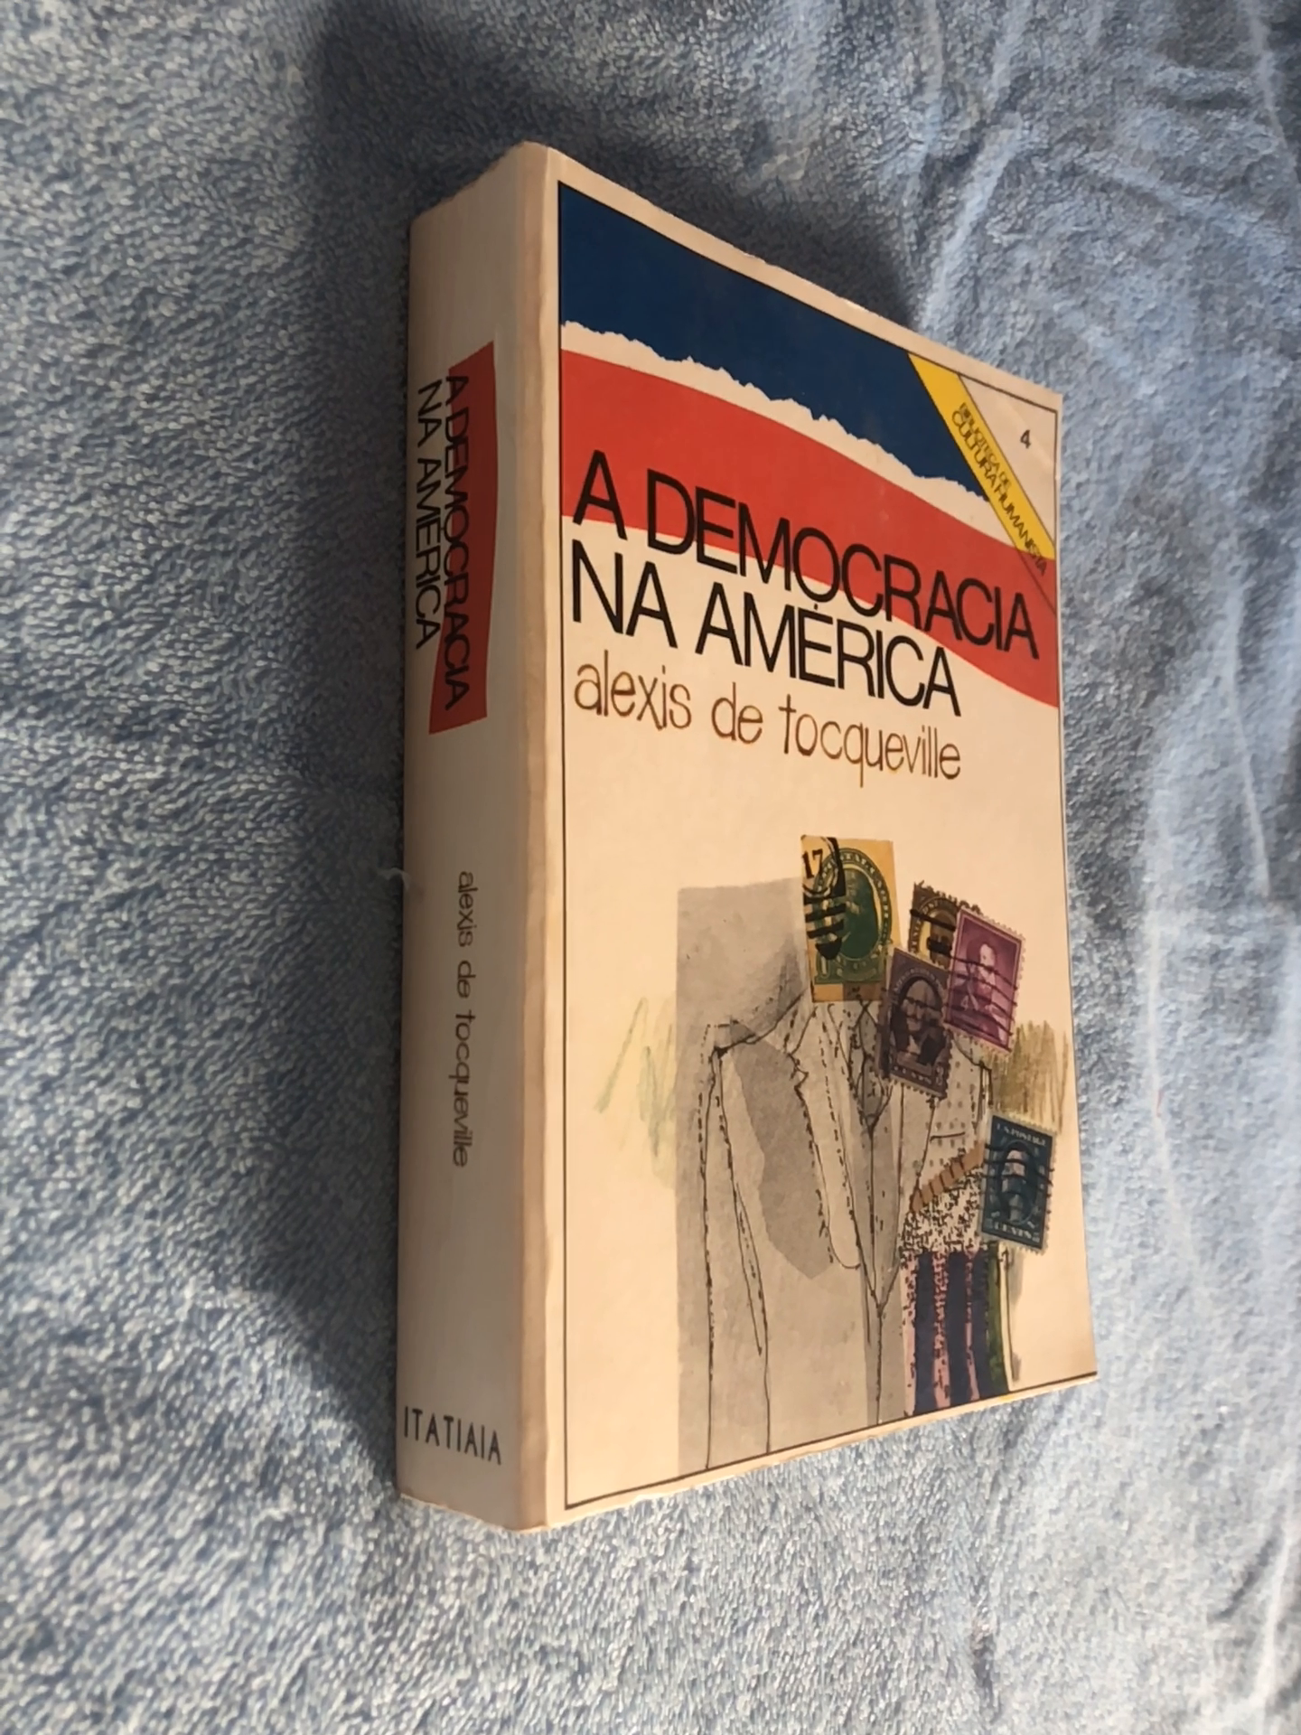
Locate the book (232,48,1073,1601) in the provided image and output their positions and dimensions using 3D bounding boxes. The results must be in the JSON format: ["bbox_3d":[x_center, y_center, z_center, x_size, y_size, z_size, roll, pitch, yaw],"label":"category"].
[{"bbox_3d":[0.011,-0.003,0.250,0.141,0.050,0.200,7,82,-41],"label":"book"}]
